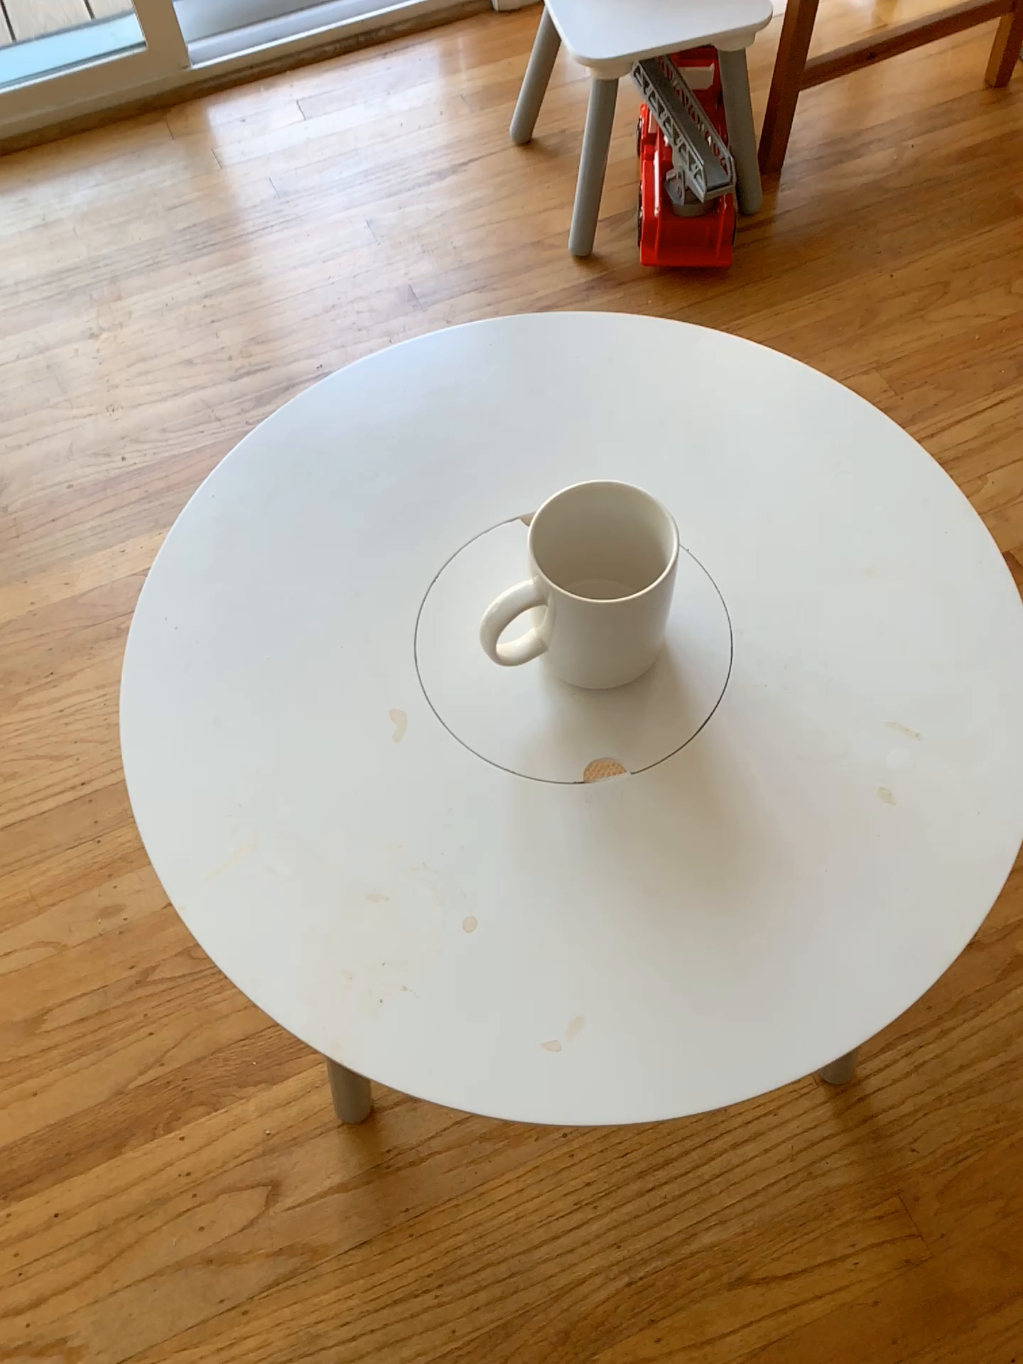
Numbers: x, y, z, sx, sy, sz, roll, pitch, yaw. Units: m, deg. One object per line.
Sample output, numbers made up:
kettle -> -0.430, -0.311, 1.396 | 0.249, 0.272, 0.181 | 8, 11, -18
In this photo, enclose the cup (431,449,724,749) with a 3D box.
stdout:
cup -> 0.037, -0.050, 0.632 | 0.130, 0.090, 0.110 | -24, 64, -10
